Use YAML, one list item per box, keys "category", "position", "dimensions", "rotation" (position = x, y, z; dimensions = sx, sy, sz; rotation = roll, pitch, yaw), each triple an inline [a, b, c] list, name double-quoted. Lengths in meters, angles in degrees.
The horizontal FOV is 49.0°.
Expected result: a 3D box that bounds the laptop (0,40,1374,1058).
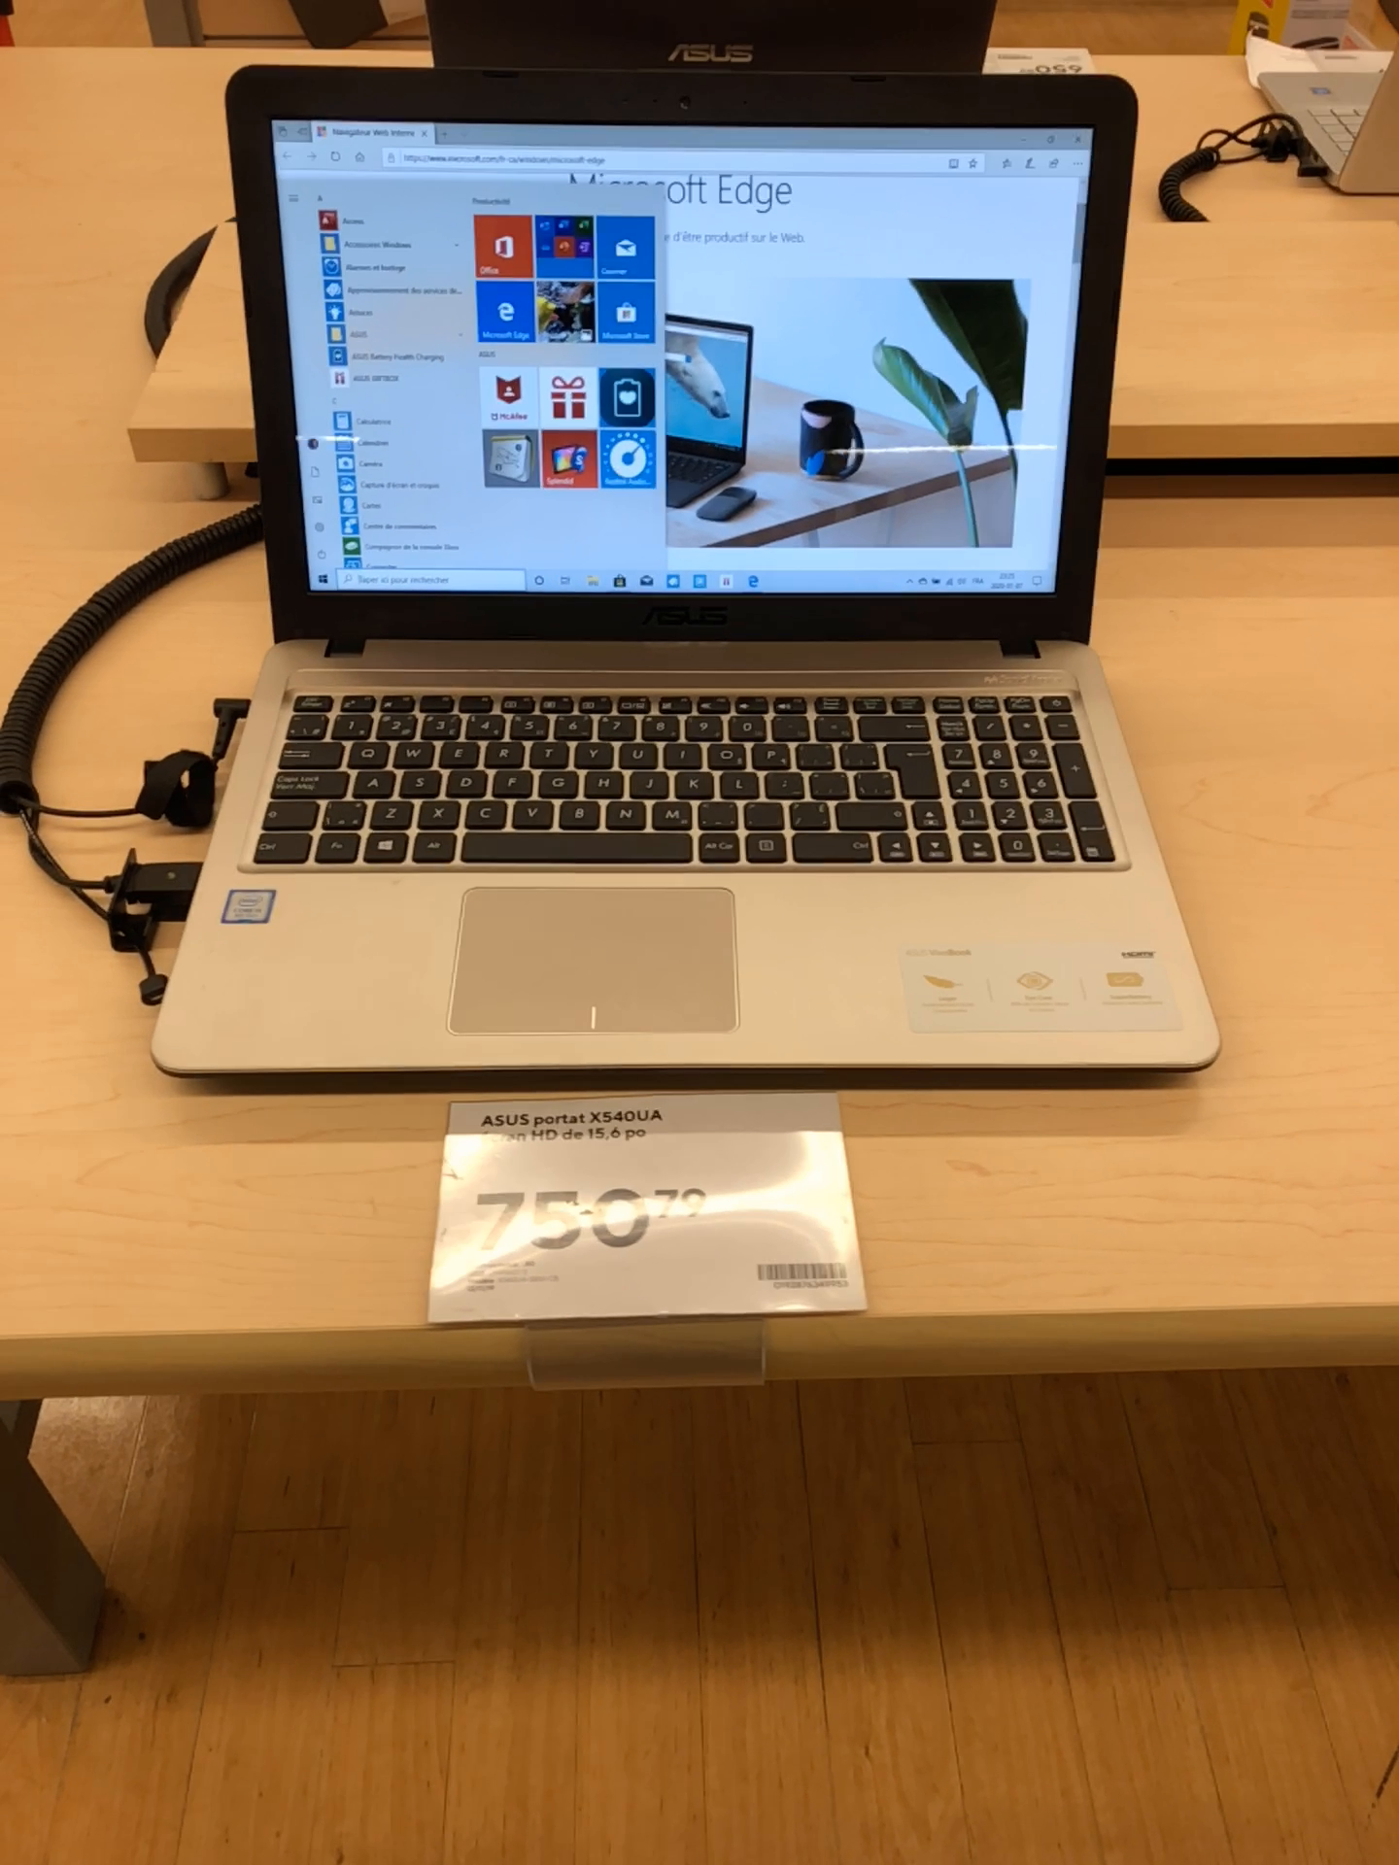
- category: "laptop"
  position: [-0.011, -0.164, 0.614]
  dimensions: [0.383, 0.215, 0.361]
  rotation: [0, 48, -2]
